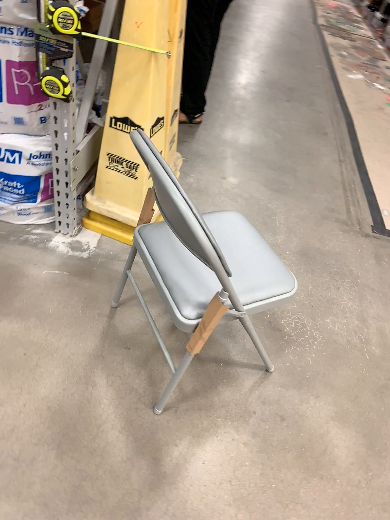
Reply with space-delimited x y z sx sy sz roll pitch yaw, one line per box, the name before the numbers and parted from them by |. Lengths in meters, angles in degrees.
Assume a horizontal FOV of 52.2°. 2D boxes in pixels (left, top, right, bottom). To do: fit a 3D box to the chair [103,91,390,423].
chair | 0.064 -0.010 1.110 0.485 0.708 0.489 -11 49 -26
